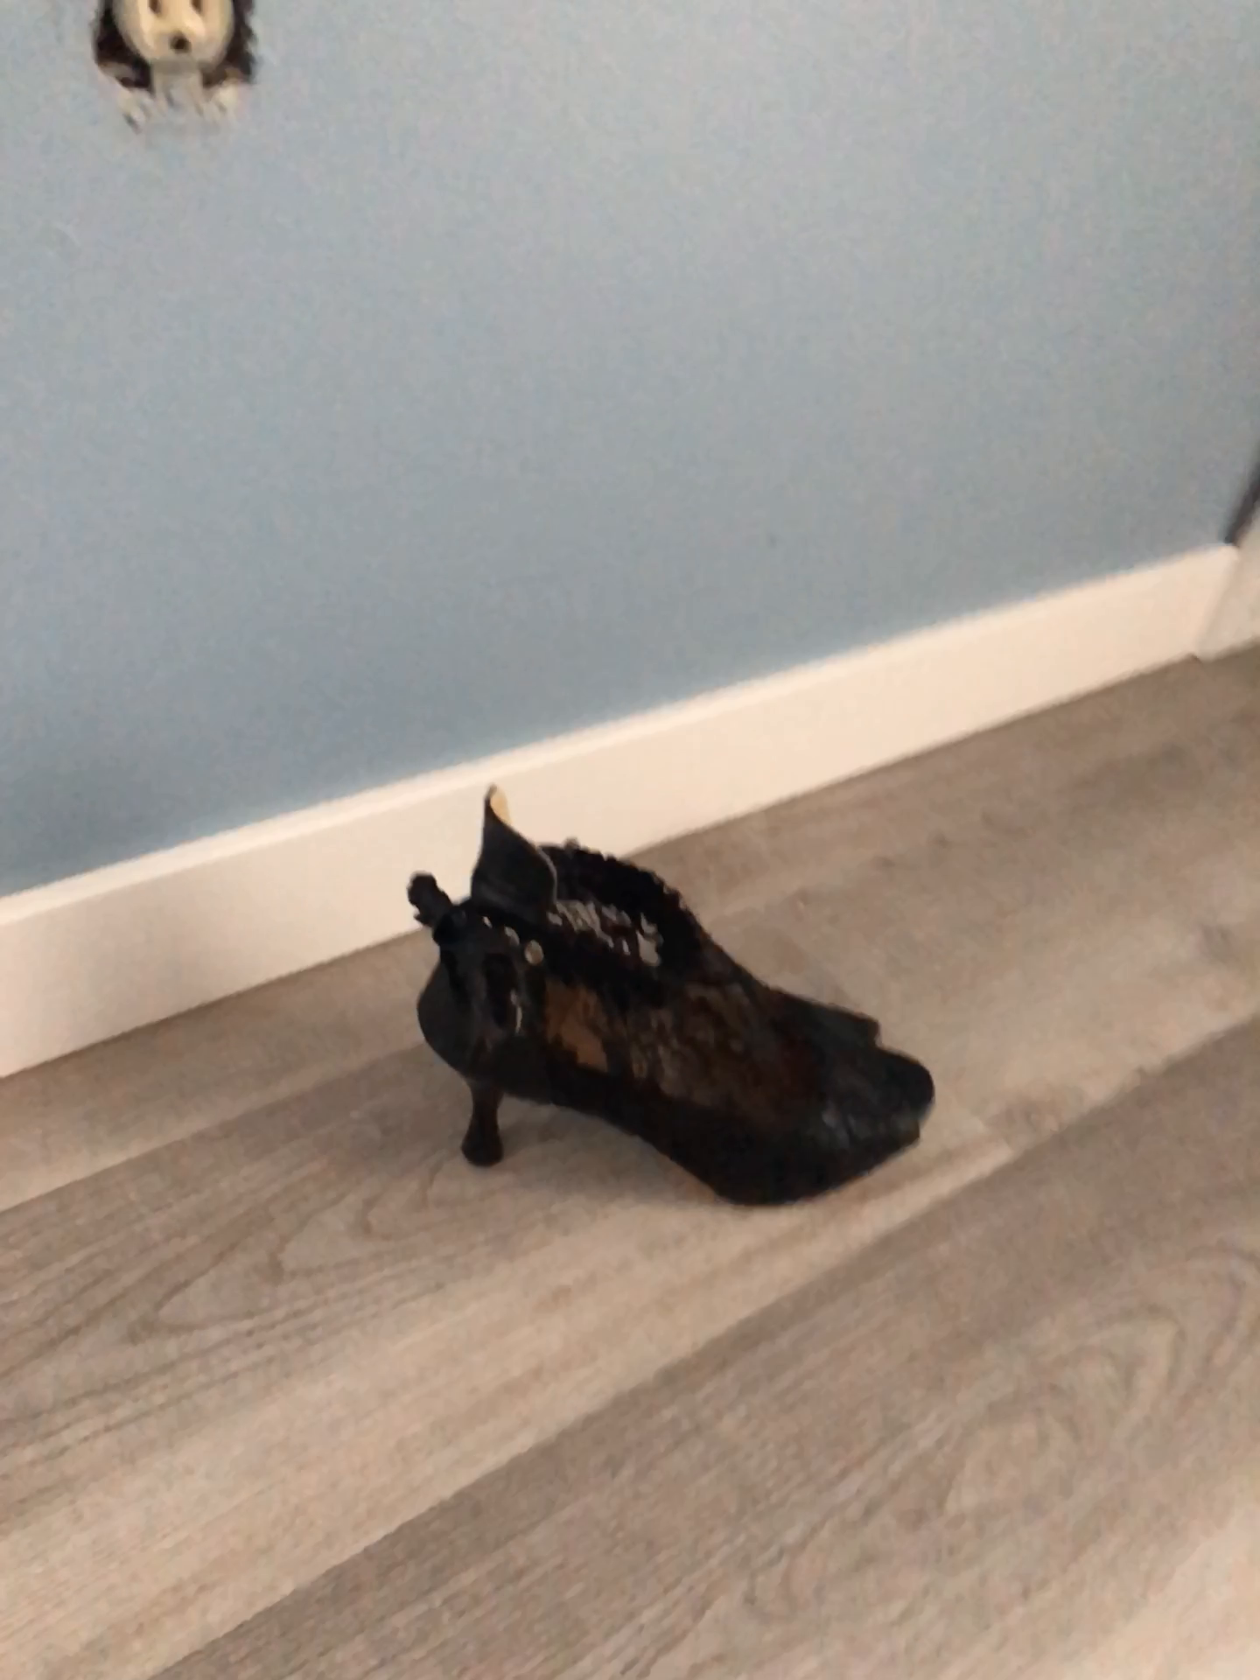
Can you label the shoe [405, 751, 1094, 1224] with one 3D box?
[{"bbox_3d":[0.029,0.056,0.518,0.220,0.139,0.100,1,40,-10],"label":"shoe"}]
